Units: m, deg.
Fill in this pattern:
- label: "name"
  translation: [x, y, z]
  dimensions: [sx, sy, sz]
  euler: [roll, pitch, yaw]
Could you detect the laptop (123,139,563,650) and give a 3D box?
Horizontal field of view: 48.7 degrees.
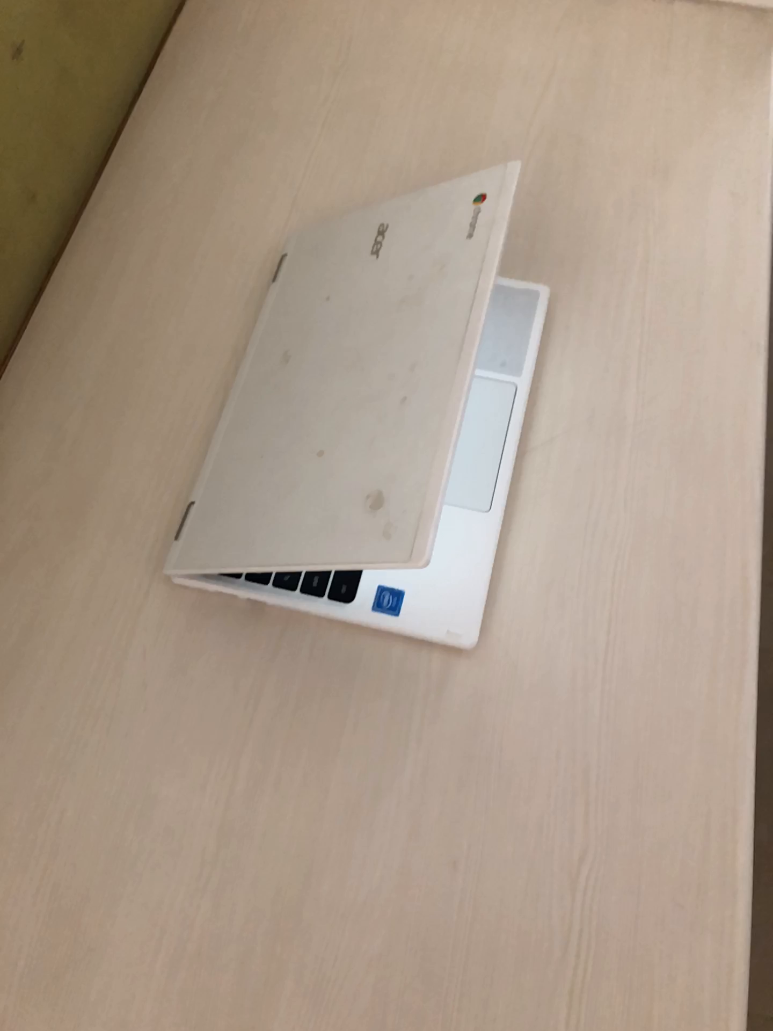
- label: "laptop"
  translation: [-0.010, -0.086, 0.555]
  dimensions: [0.196, 0.105, 0.291]
  euler: [12, 64, 6]
